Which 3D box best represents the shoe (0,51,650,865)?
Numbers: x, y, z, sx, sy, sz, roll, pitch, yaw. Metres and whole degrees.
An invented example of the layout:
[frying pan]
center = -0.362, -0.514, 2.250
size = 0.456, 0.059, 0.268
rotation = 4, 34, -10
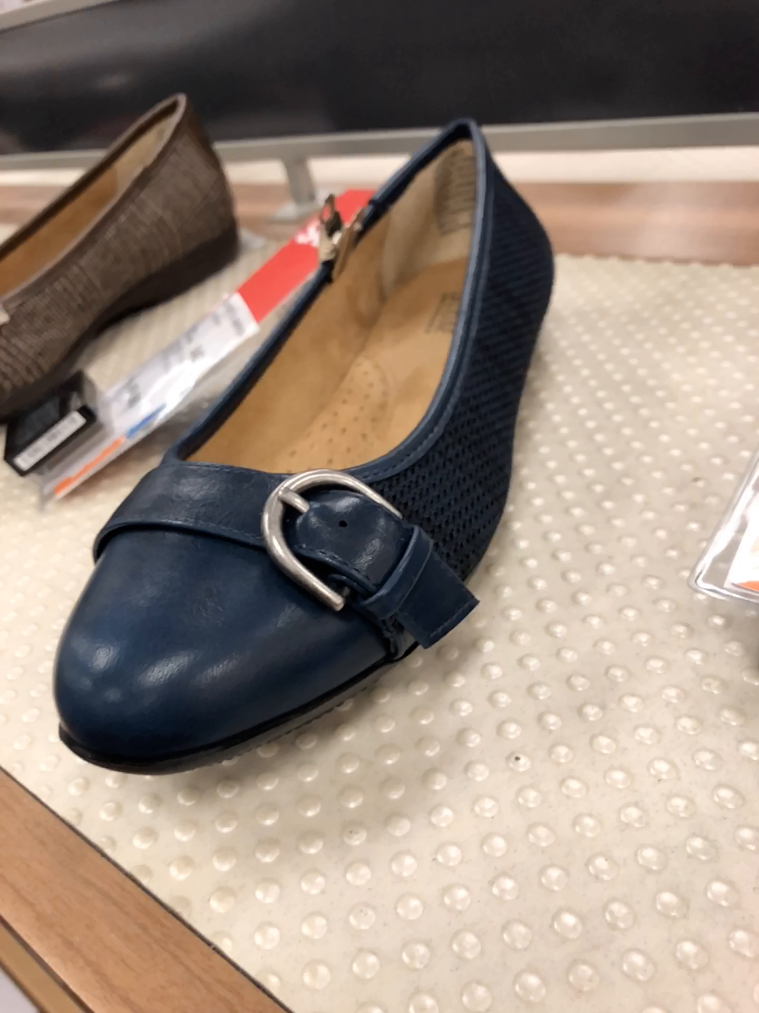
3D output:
[shoe]
center = 0.016, -0.053, 0.251
size = 0.088, 0.081, 0.280
rotation = 2, 37, 24
